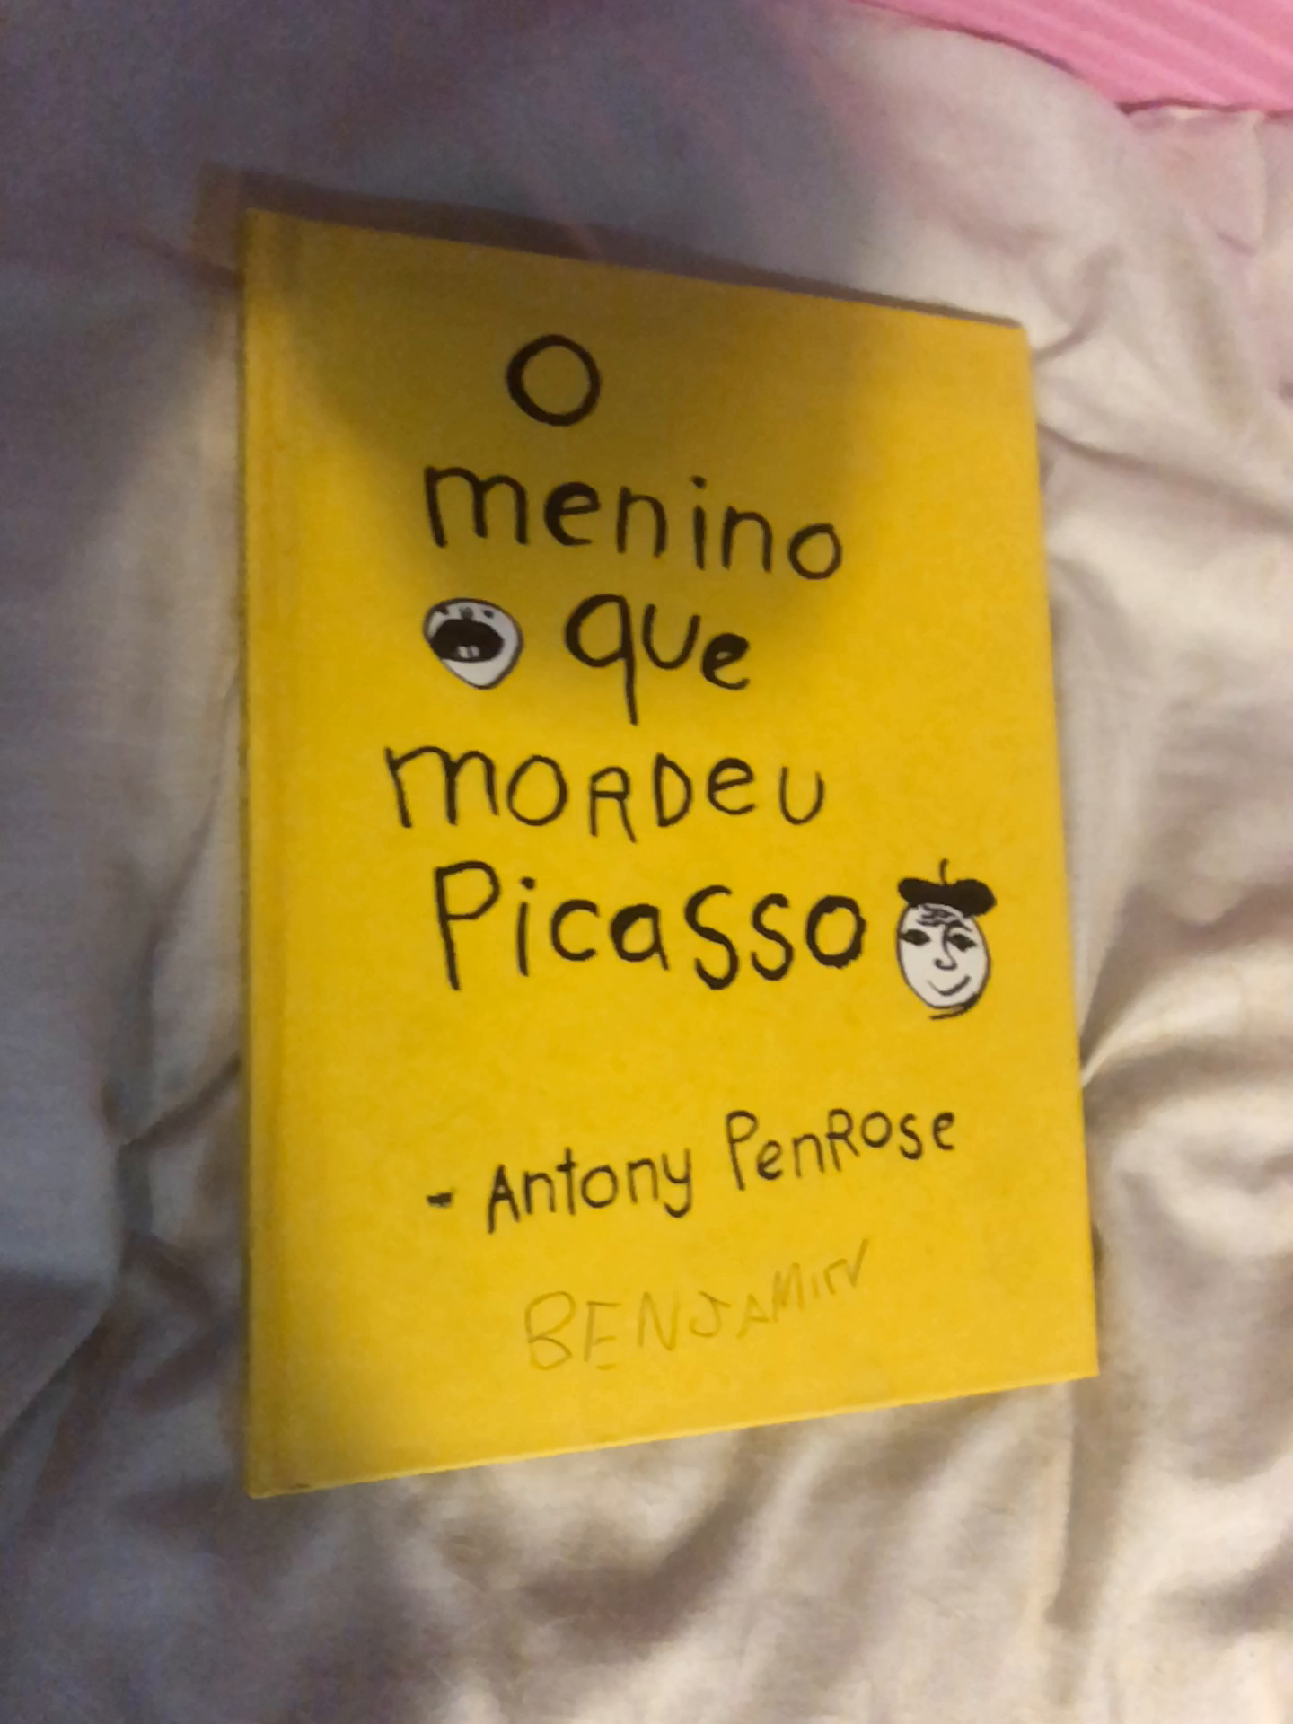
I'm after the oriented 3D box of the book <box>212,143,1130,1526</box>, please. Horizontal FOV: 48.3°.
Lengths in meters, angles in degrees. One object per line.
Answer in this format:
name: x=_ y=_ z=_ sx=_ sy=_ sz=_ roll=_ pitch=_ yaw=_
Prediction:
book: x=0.008 y=-0.008 z=0.291 sx=0.180 sy=0.024 sz=0.240 roll=1 pitch=84 yaw=-20
